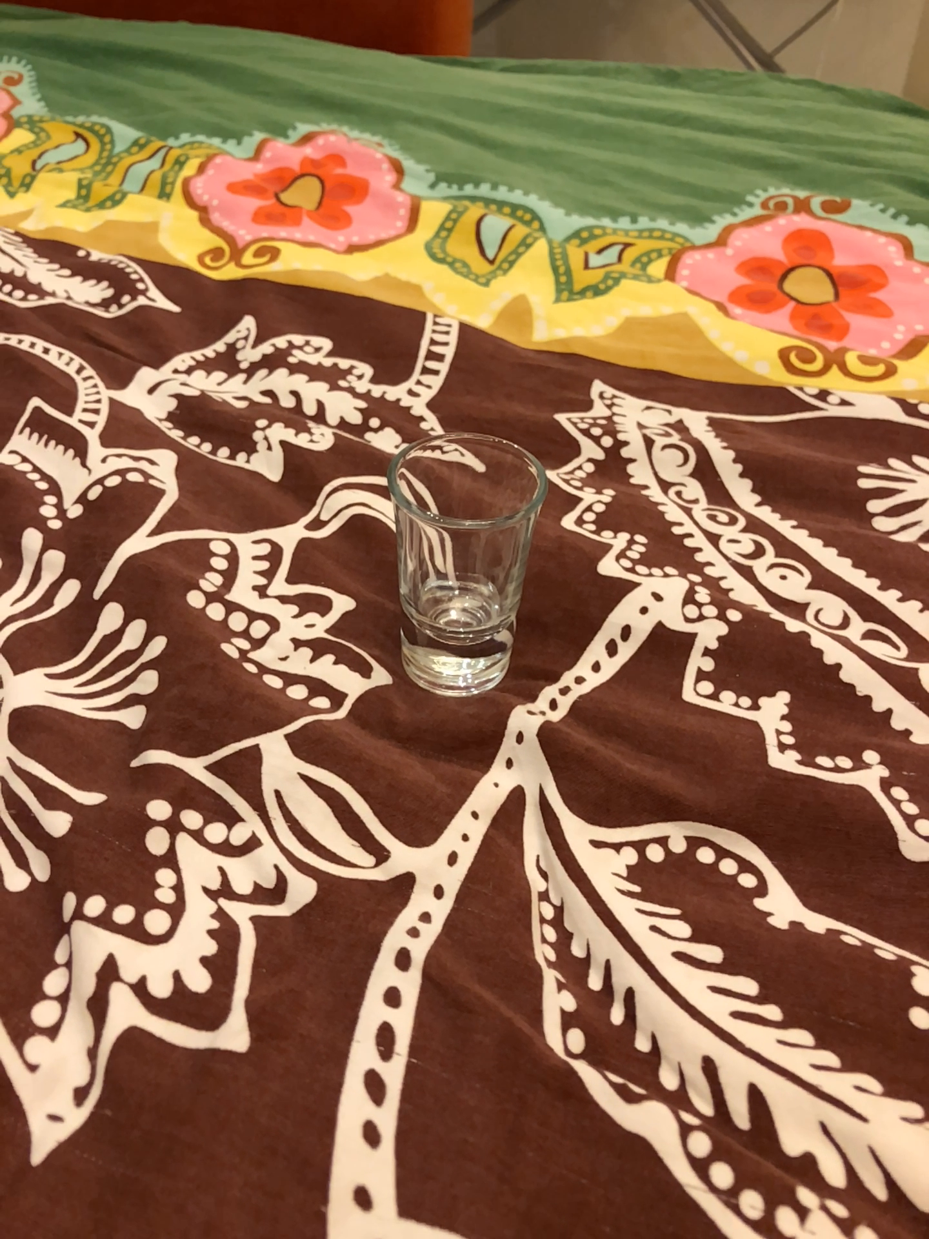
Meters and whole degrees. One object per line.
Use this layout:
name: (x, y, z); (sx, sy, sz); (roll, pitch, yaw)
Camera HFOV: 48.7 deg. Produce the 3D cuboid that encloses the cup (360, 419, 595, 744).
cup: (0.001, -0.011, 0.291); (0.042, 0.069, 0.045); (4, 39, -3)
